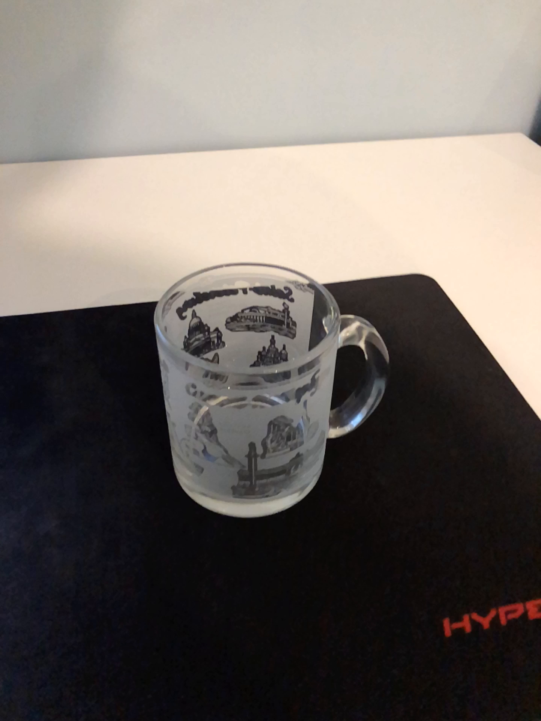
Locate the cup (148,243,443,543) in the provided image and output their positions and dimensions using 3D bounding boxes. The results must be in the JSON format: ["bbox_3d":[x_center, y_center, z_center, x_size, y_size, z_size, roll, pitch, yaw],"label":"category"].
[{"bbox_3d":[0.004,0.015,0.304,0.116,0.106,0.091,-6,42,-9],"label":"cup"}]
